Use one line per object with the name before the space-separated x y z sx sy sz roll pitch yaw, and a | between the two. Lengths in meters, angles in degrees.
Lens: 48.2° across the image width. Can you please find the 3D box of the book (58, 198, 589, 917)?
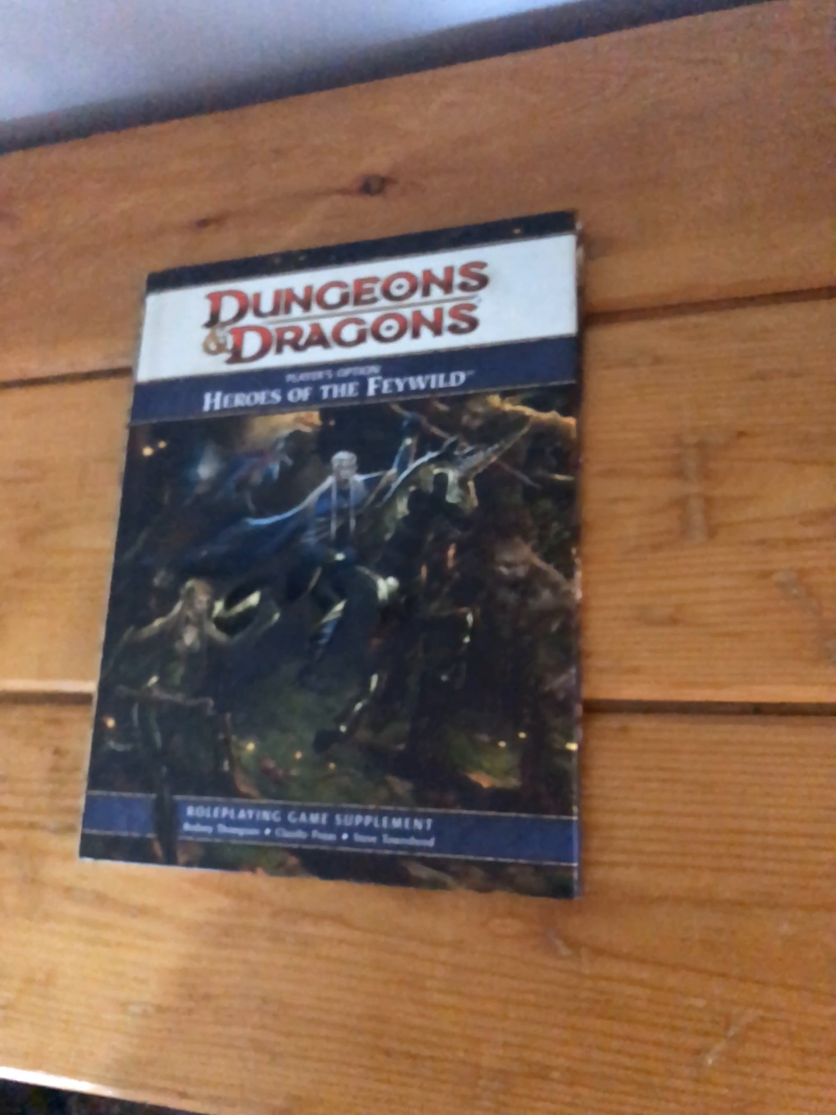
book | -0.039 -0.006 0.399 0.221 0.020 0.280 -2 77 18
